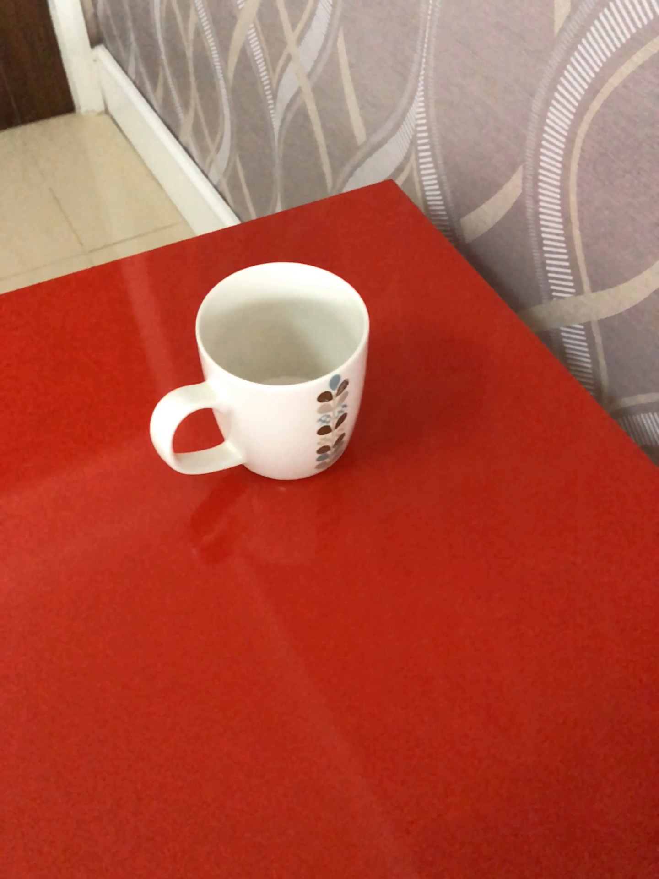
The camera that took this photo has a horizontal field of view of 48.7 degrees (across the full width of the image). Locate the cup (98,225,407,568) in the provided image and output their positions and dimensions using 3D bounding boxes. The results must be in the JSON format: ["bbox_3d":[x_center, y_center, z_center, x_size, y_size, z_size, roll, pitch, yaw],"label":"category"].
[{"bbox_3d":[-0.038,-0.023,0.402,0.120,0.119,0.090,-35,61,-24],"label":"cup"}]
